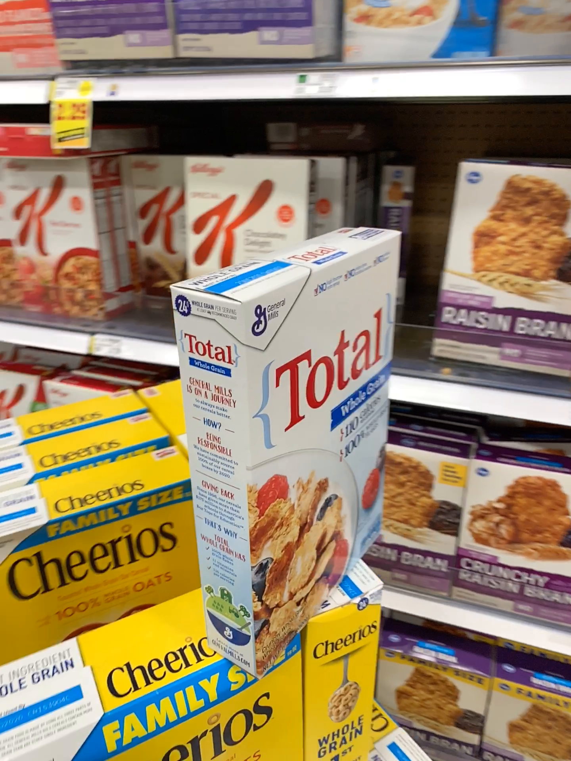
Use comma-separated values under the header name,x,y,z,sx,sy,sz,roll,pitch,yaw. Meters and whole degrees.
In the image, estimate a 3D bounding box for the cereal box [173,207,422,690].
name,x,y,z,sx,sy,sz,roll,pitch,yaw
cereal box,0.023,0.041,0.445,0.050,0.298,0.211,17,31,32
